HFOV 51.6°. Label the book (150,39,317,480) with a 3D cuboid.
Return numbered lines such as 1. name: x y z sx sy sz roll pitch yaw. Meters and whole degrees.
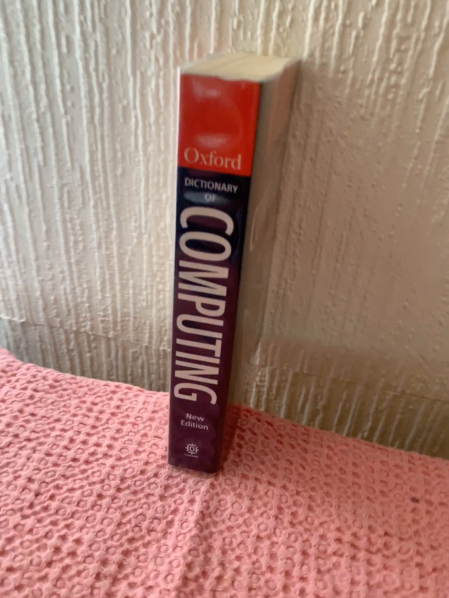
1. book: 0.009 -0.030 0.254 0.040 0.188 0.151 11 32 10
